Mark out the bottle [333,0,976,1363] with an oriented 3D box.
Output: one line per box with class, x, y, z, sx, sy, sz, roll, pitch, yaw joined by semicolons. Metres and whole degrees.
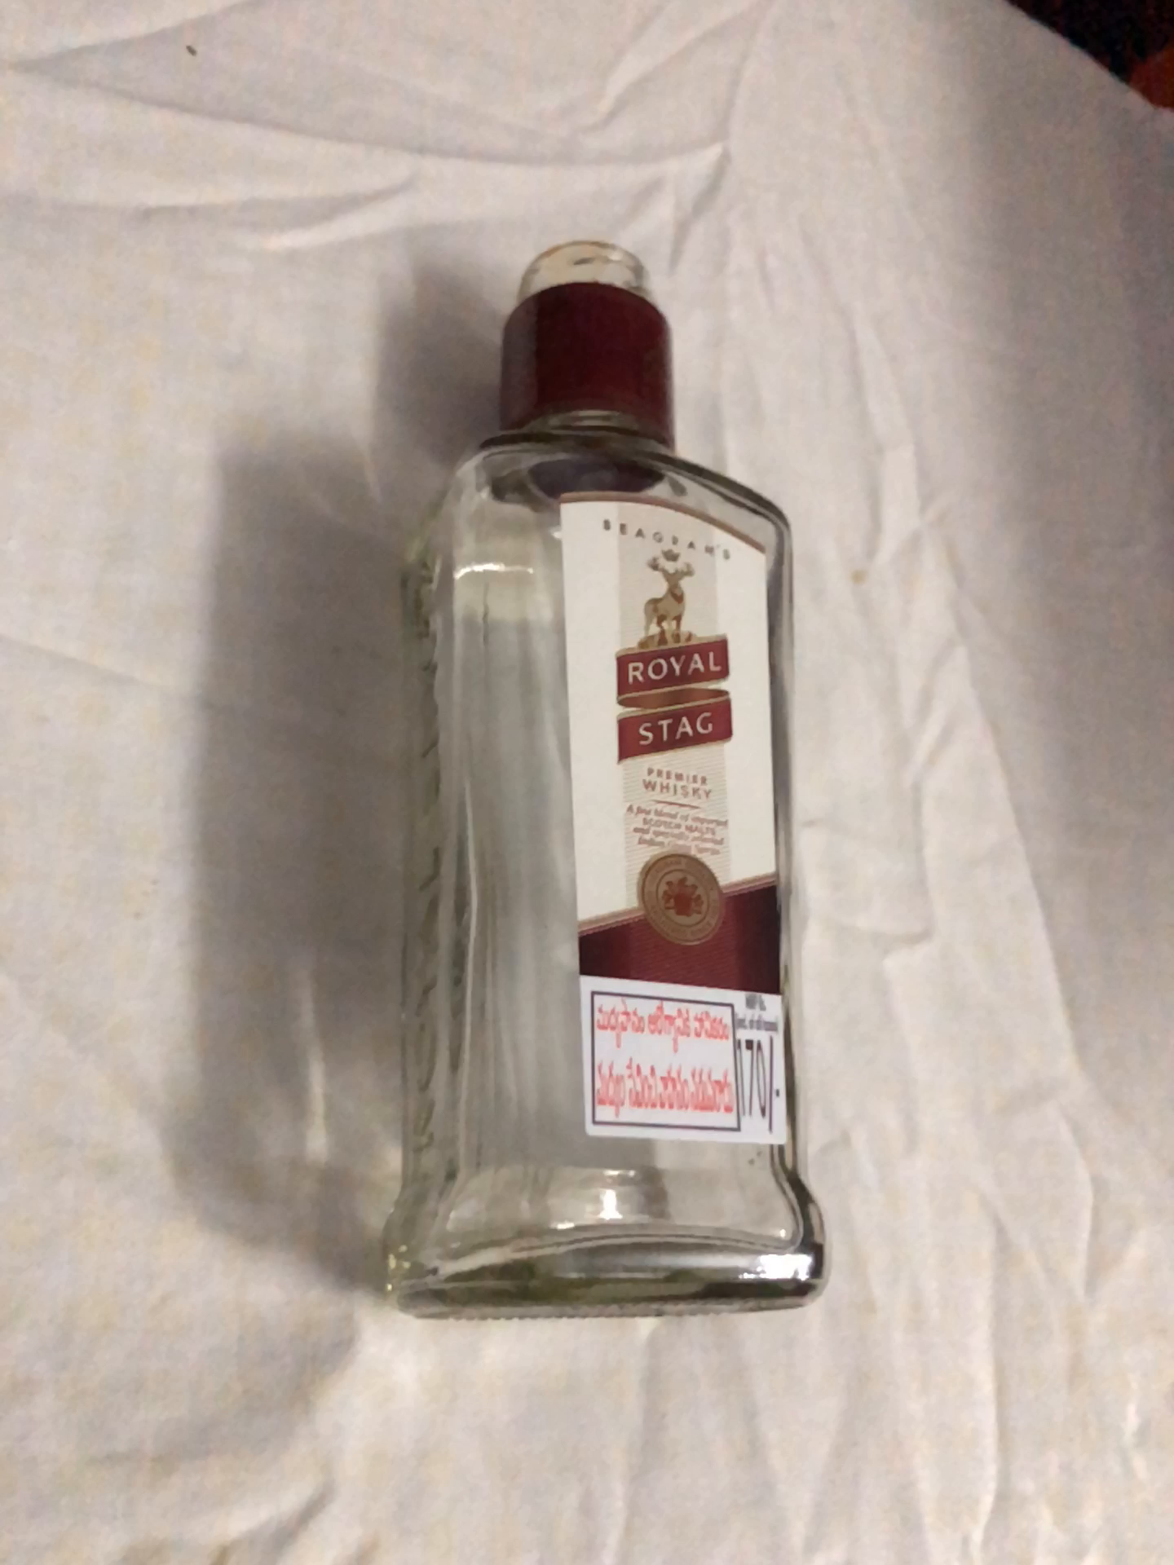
bottle;0.008;-0.019;0.187;0.060;0.050;0.180;10;69;-24
